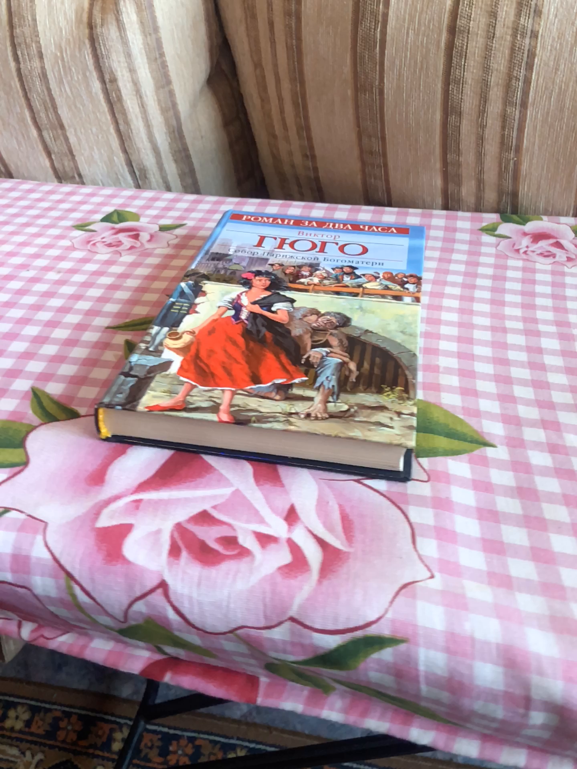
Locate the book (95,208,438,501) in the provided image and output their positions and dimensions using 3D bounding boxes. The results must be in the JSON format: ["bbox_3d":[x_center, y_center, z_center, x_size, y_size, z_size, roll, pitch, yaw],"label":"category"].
[{"bbox_3d":[0.008,-0.035,0.338,0.136,0.027,0.208,7,38,8],"label":"book"}]
